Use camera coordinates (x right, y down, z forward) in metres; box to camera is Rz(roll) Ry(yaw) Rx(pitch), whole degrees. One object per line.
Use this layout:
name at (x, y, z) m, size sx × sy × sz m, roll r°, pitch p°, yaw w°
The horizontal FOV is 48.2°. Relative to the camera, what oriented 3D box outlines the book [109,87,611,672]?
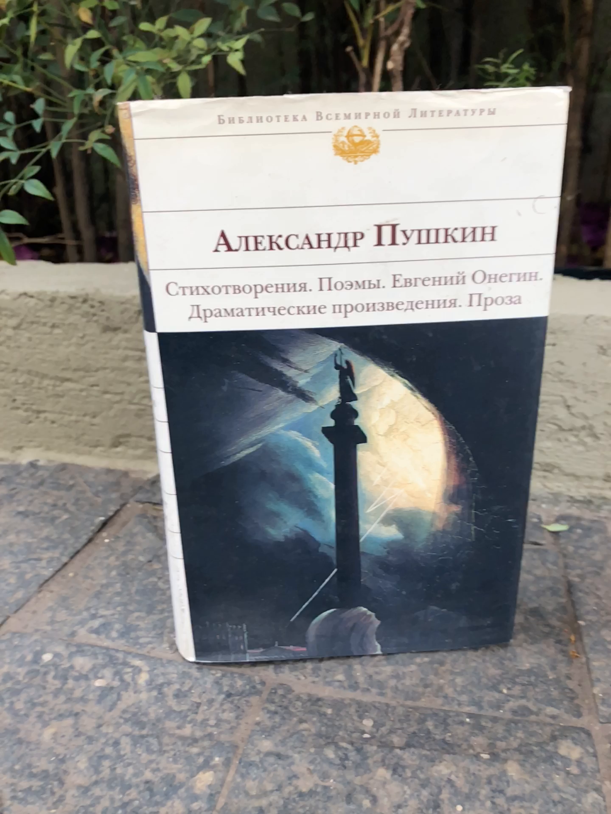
book at (0.018, -0.005, 0.255) m, size 0.150 × 0.204 × 0.050 m, roll -2°, pitch 20°, yaw -4°
